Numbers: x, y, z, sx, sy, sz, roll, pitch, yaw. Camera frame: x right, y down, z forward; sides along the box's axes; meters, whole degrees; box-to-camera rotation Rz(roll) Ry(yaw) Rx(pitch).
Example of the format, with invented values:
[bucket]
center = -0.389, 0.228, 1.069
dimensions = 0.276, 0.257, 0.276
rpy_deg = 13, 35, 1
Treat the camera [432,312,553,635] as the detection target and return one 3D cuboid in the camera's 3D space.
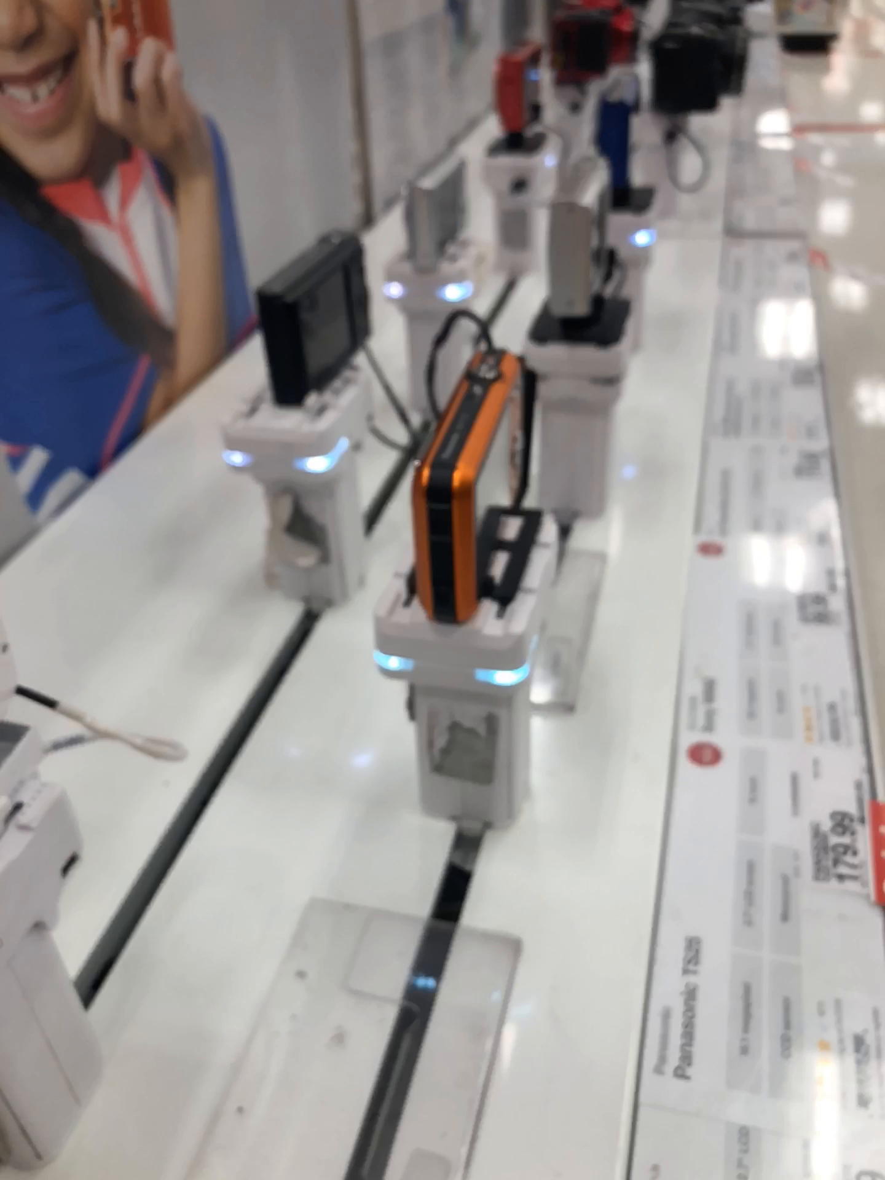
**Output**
[camera]
center = 0.021, -0.046, 0.348
dimensions = 0.020, 0.060, 0.121
rpy_deg = 5, 36, 11
